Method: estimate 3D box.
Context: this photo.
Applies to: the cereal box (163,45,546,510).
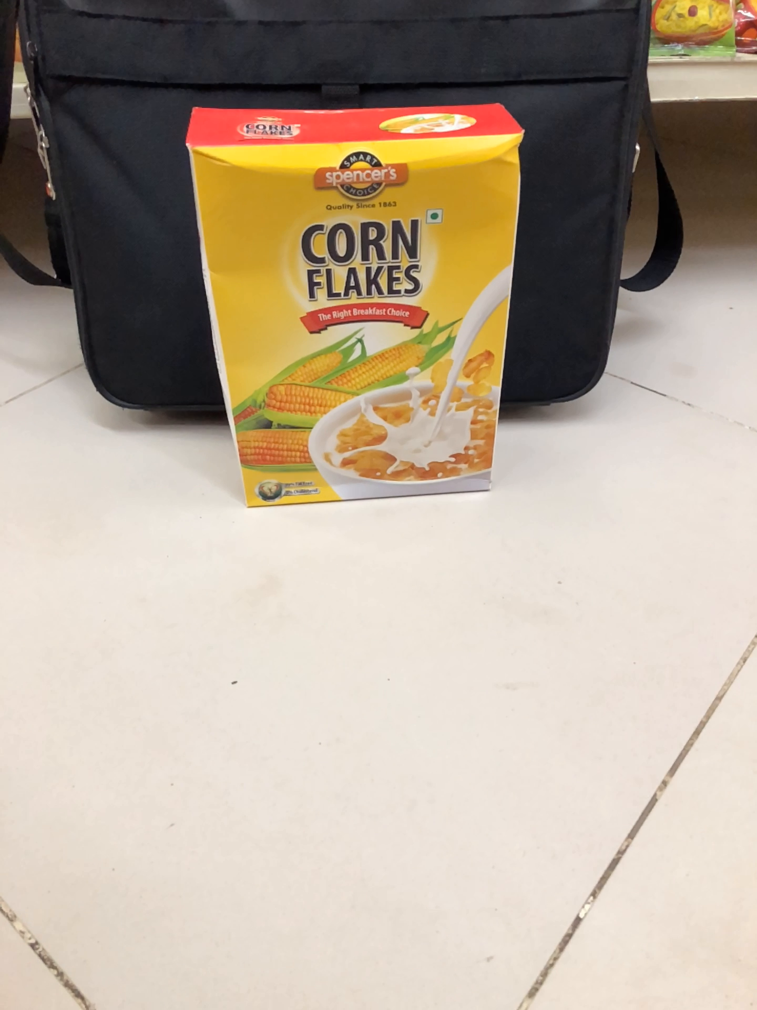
[{"bbox_3d":[-0.009,-0.128,0.528,0.190,0.268,0.070,-4,41,-2],"label":"cereal box"}]
